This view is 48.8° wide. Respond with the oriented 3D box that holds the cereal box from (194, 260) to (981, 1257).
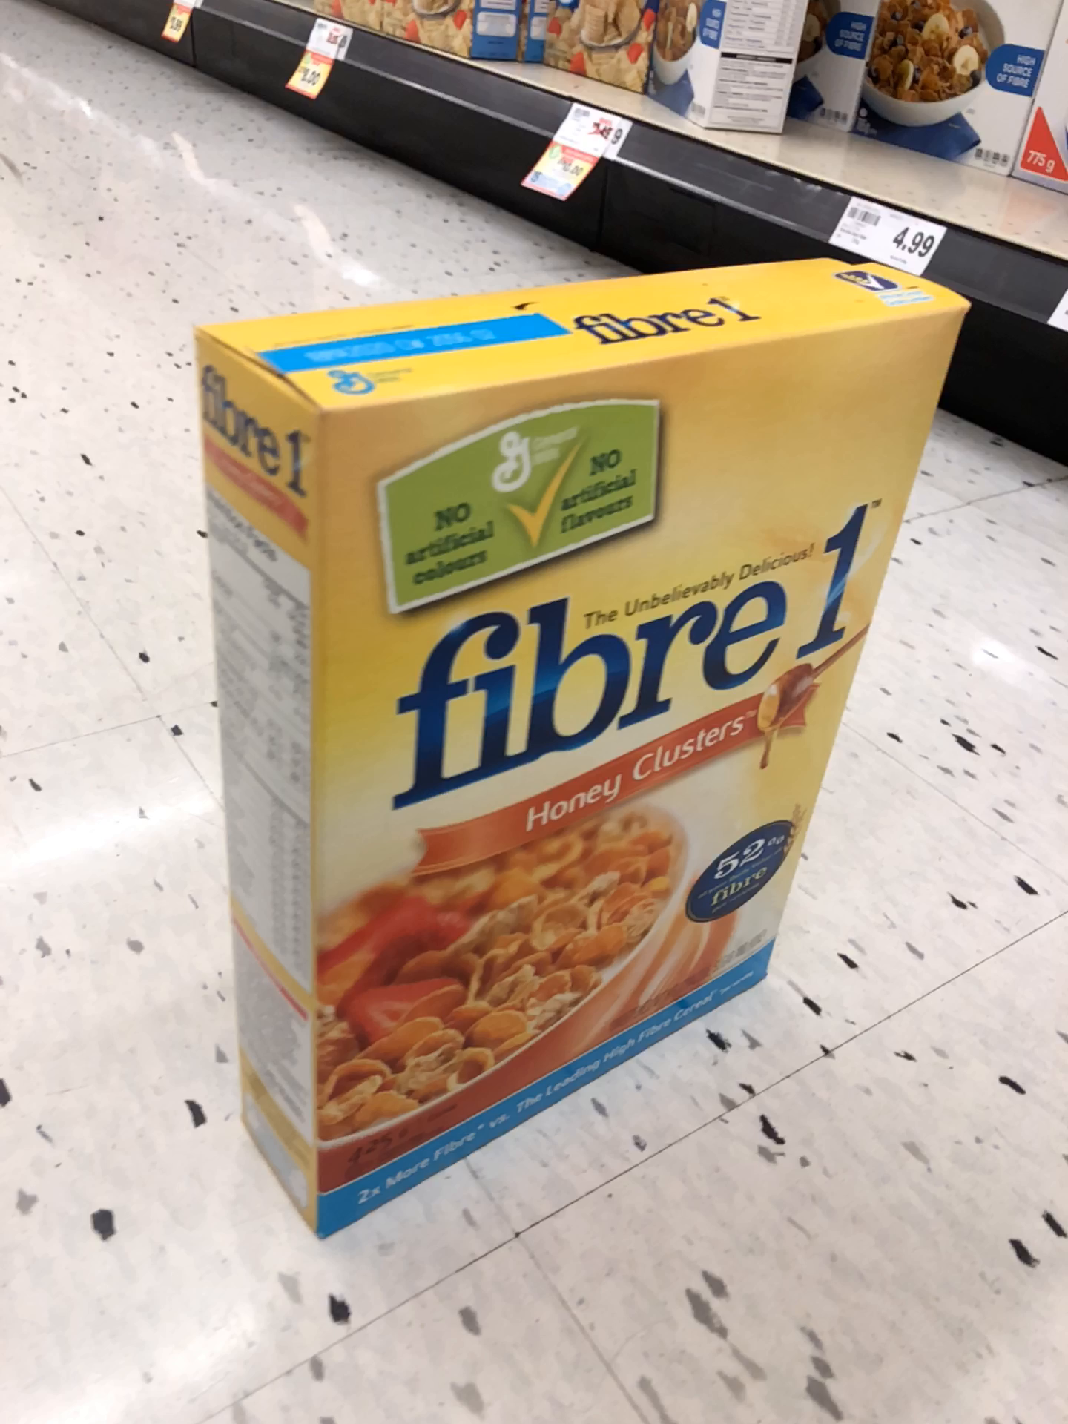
[{"bbox_3d":[0.011,0.014,0.334,0.191,0.248,0.050,-19,42,-34],"label":"cereal box"}]
